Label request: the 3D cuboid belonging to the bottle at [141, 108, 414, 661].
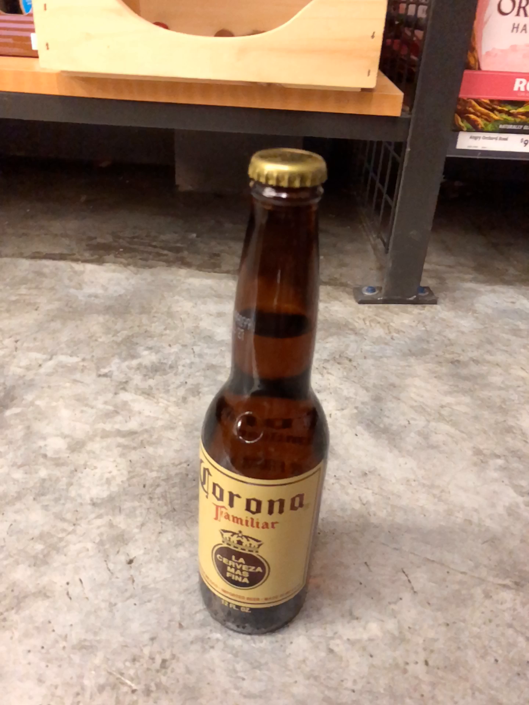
[{"bbox_3d":[0.003,0.023,0.244,0.070,0.216,0.070,3,32,-2],"label":"bottle"}]
